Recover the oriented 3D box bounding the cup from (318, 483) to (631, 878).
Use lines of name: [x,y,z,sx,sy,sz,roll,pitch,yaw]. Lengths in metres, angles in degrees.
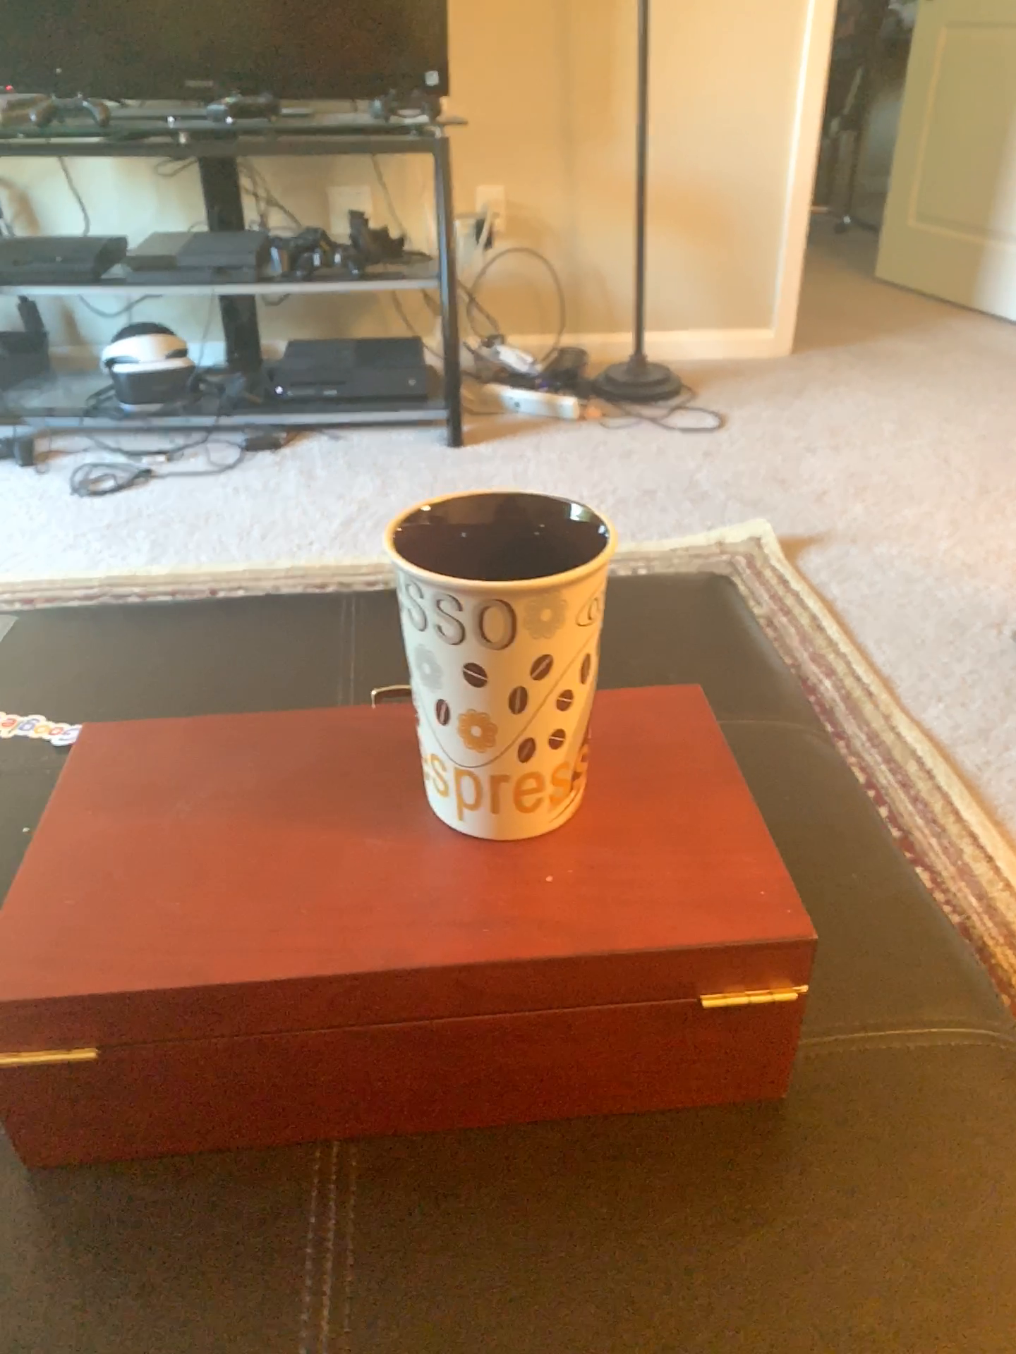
cup: [-0.007,-0.003,0.418,0.090,0.109,0.100,8,33,14]
